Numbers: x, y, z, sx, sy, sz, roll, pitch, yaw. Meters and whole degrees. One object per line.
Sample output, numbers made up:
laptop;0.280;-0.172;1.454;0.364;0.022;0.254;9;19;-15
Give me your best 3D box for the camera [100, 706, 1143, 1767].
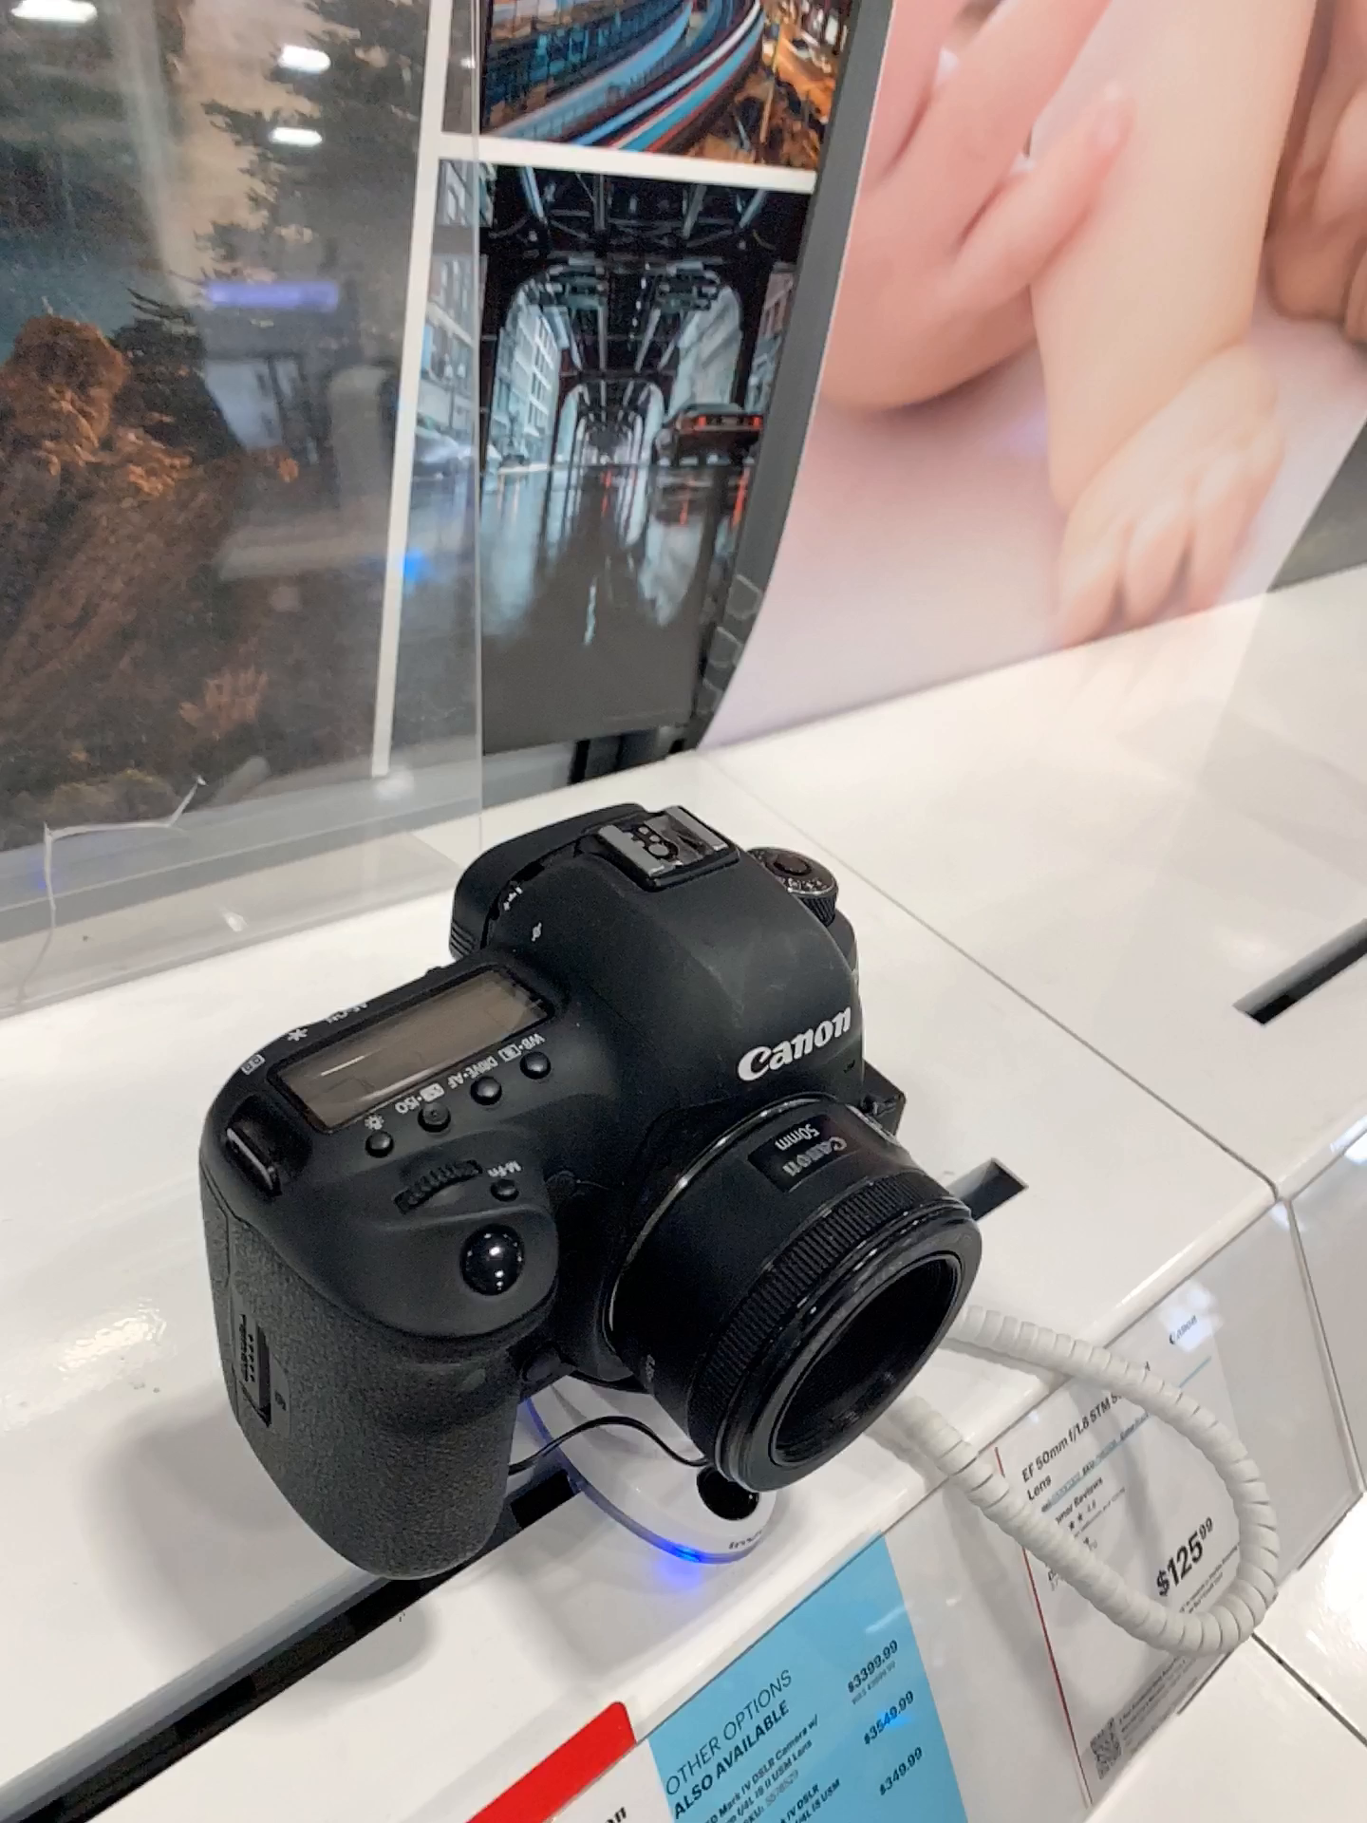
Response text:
camera;-0.016;0.047;0.271;0.140;0.106;0.112;-20;47;-37
